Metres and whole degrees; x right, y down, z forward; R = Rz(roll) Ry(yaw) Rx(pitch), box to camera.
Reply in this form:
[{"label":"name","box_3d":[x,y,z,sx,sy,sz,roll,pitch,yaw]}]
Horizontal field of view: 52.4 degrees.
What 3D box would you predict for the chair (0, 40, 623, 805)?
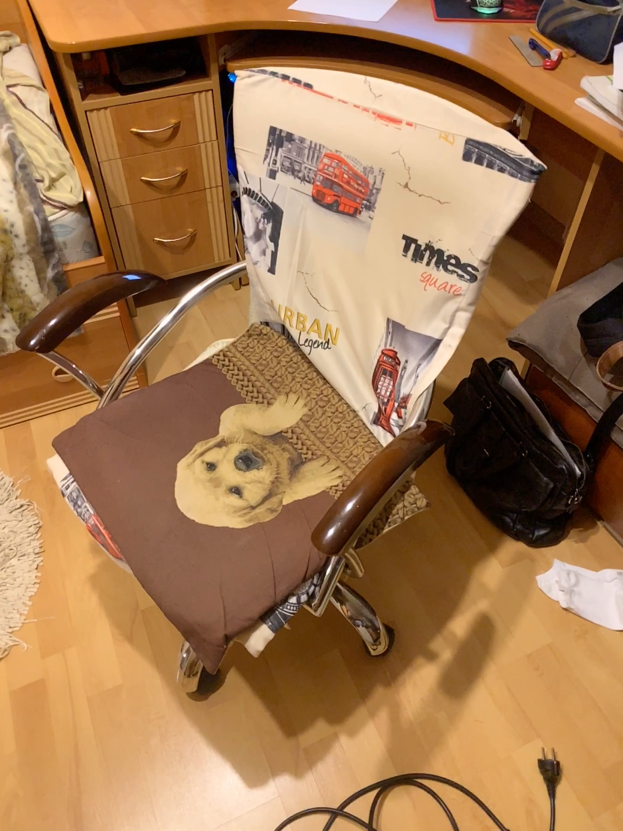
[{"label":"chair","box_3d":[-0.037,0.013,0.824,0.476,0.665,0.566,31,55,23]}]
